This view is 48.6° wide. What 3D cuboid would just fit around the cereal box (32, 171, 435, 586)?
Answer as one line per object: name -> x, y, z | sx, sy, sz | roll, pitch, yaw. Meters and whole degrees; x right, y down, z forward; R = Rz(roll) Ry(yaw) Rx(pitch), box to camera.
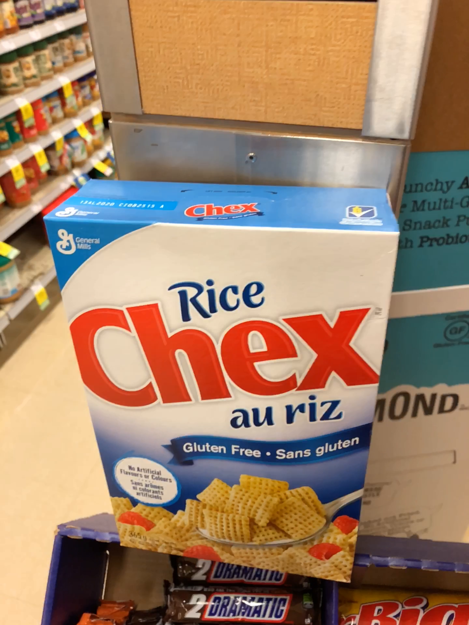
cereal box -> 0.000, 0.058, 0.369 | 0.210, 0.288, 0.070 | 5, 31, 9
